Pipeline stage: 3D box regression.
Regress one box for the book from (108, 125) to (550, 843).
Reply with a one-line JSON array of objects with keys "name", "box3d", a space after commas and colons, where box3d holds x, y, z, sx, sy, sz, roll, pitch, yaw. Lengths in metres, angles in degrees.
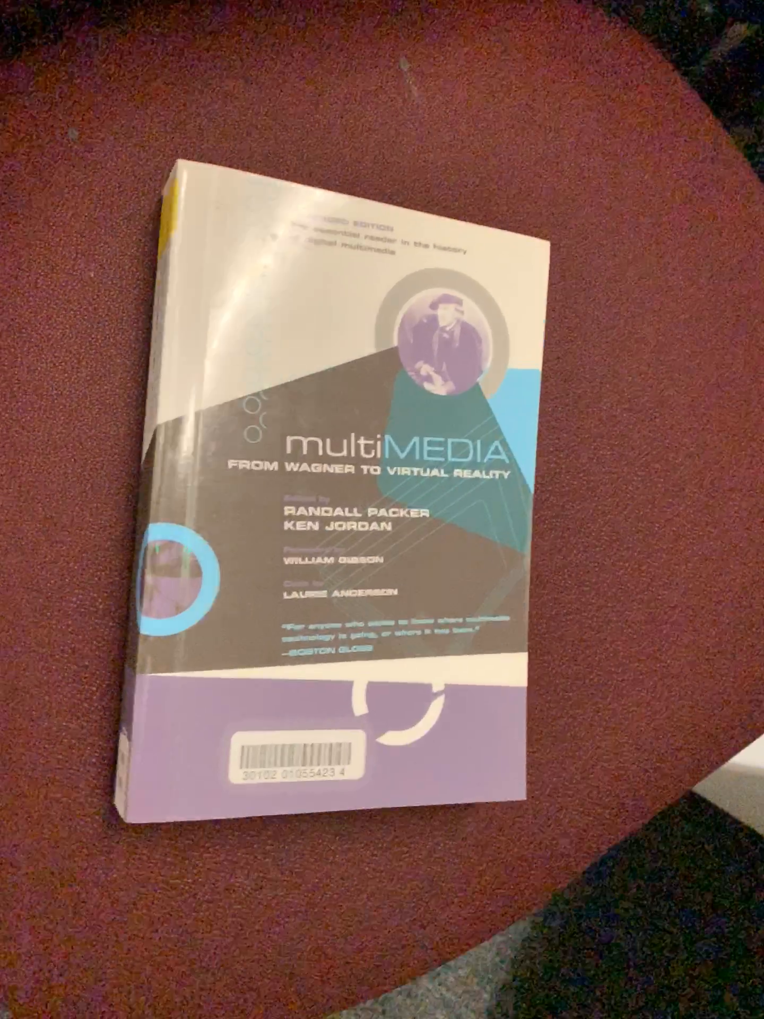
[{"name": "book", "box3d": [-0.016, -0.007, 0.315, 0.160, 0.040, 0.248, 4, 85, -20]}]
